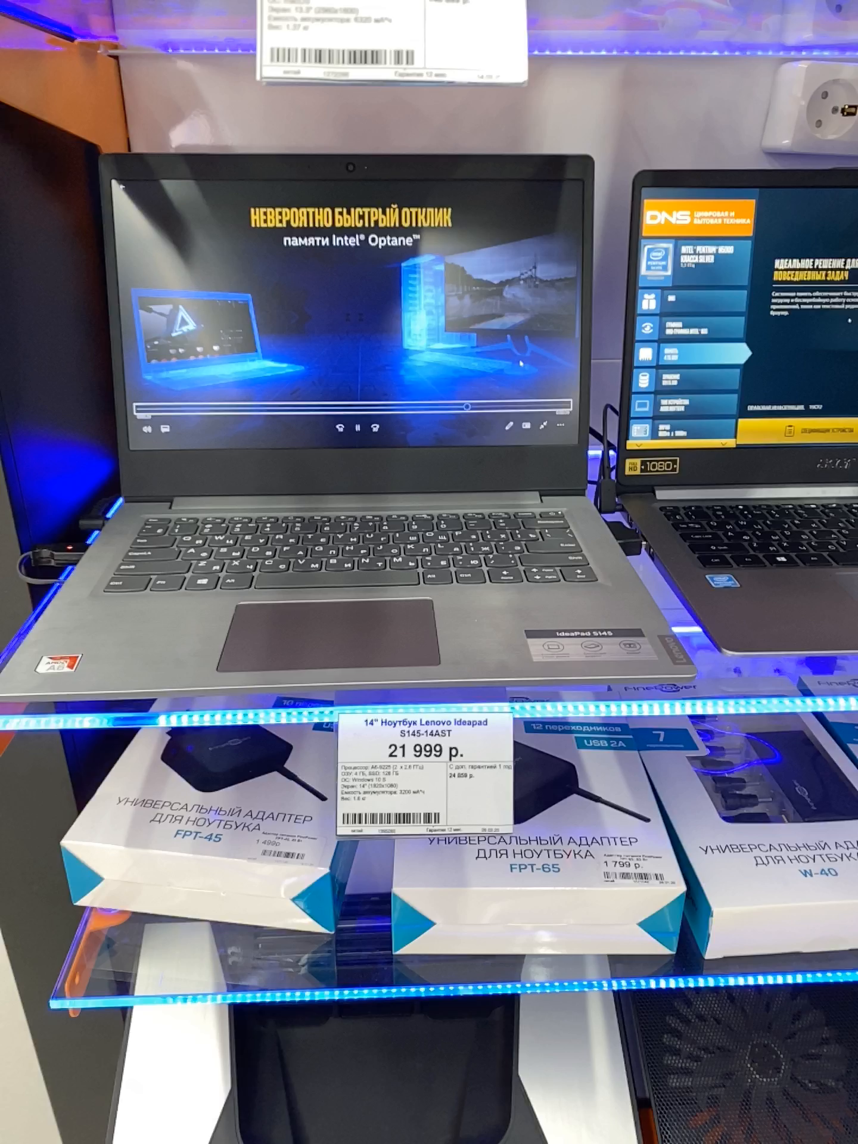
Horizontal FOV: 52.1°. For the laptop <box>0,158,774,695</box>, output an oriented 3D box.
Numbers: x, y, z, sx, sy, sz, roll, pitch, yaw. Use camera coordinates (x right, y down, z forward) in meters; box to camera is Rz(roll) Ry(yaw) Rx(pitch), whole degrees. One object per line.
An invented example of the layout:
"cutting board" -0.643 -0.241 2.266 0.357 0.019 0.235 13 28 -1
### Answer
"laptop" -0.047 -0.112 0.495 0.327 0.215 0.304 -1 26 -3
